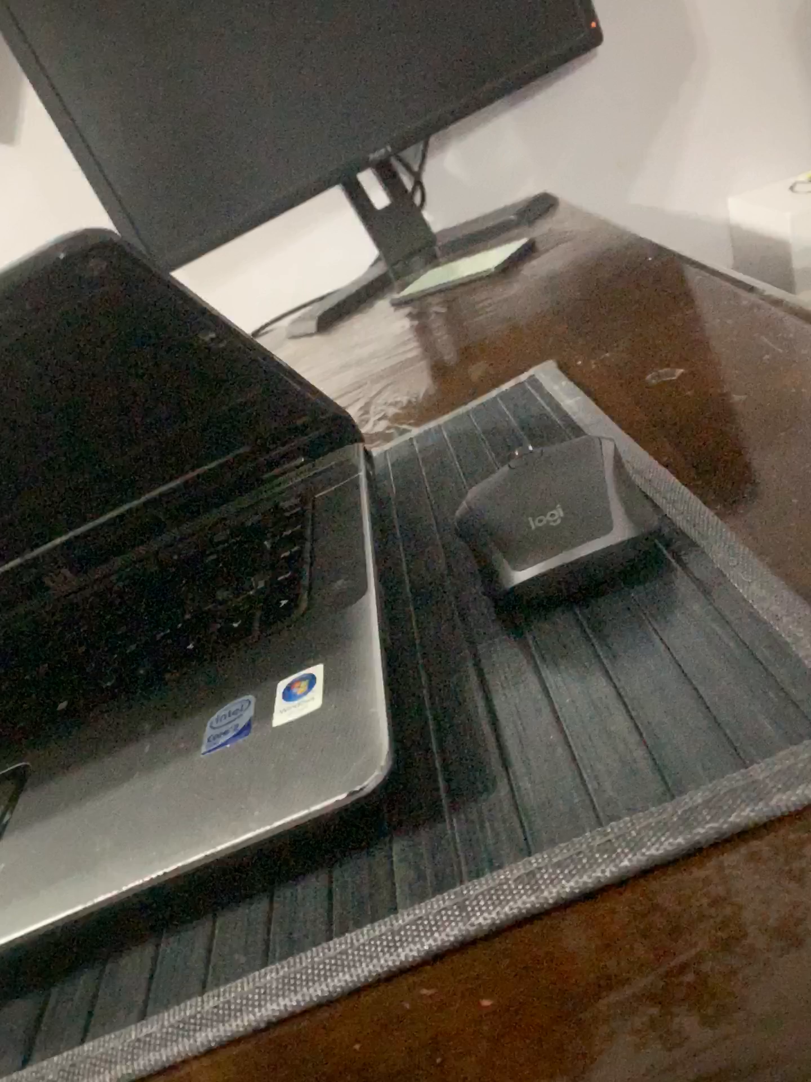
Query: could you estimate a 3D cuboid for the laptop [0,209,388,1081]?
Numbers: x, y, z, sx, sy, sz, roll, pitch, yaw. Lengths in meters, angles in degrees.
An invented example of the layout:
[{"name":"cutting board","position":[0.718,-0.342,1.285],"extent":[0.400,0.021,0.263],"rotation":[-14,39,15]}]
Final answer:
[{"name":"laptop","position":[-0.195,0.023,0.305],"extent":[0.342,0.109,0.245],"rotation":[-25,27,5]}]
